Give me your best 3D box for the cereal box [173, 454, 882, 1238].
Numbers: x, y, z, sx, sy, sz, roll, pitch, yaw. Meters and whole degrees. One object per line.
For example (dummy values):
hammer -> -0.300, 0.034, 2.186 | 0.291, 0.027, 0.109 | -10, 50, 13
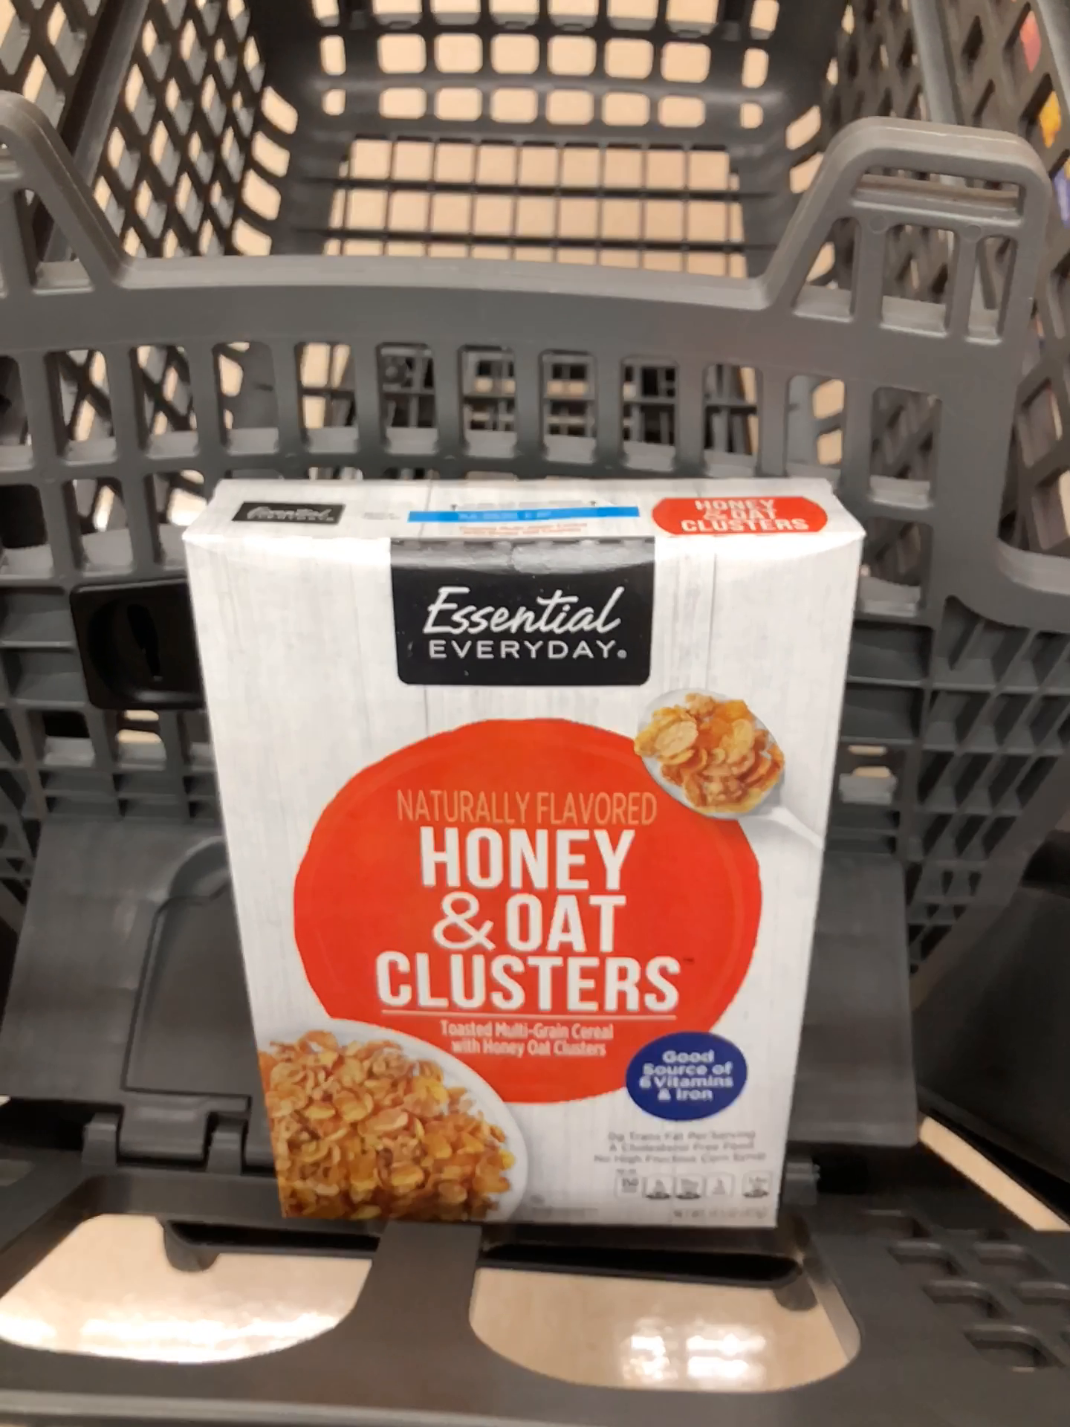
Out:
cereal box -> -0.002, 0.057, 0.419 | 0.190, 0.280, 0.070 | 0, 28, 1
